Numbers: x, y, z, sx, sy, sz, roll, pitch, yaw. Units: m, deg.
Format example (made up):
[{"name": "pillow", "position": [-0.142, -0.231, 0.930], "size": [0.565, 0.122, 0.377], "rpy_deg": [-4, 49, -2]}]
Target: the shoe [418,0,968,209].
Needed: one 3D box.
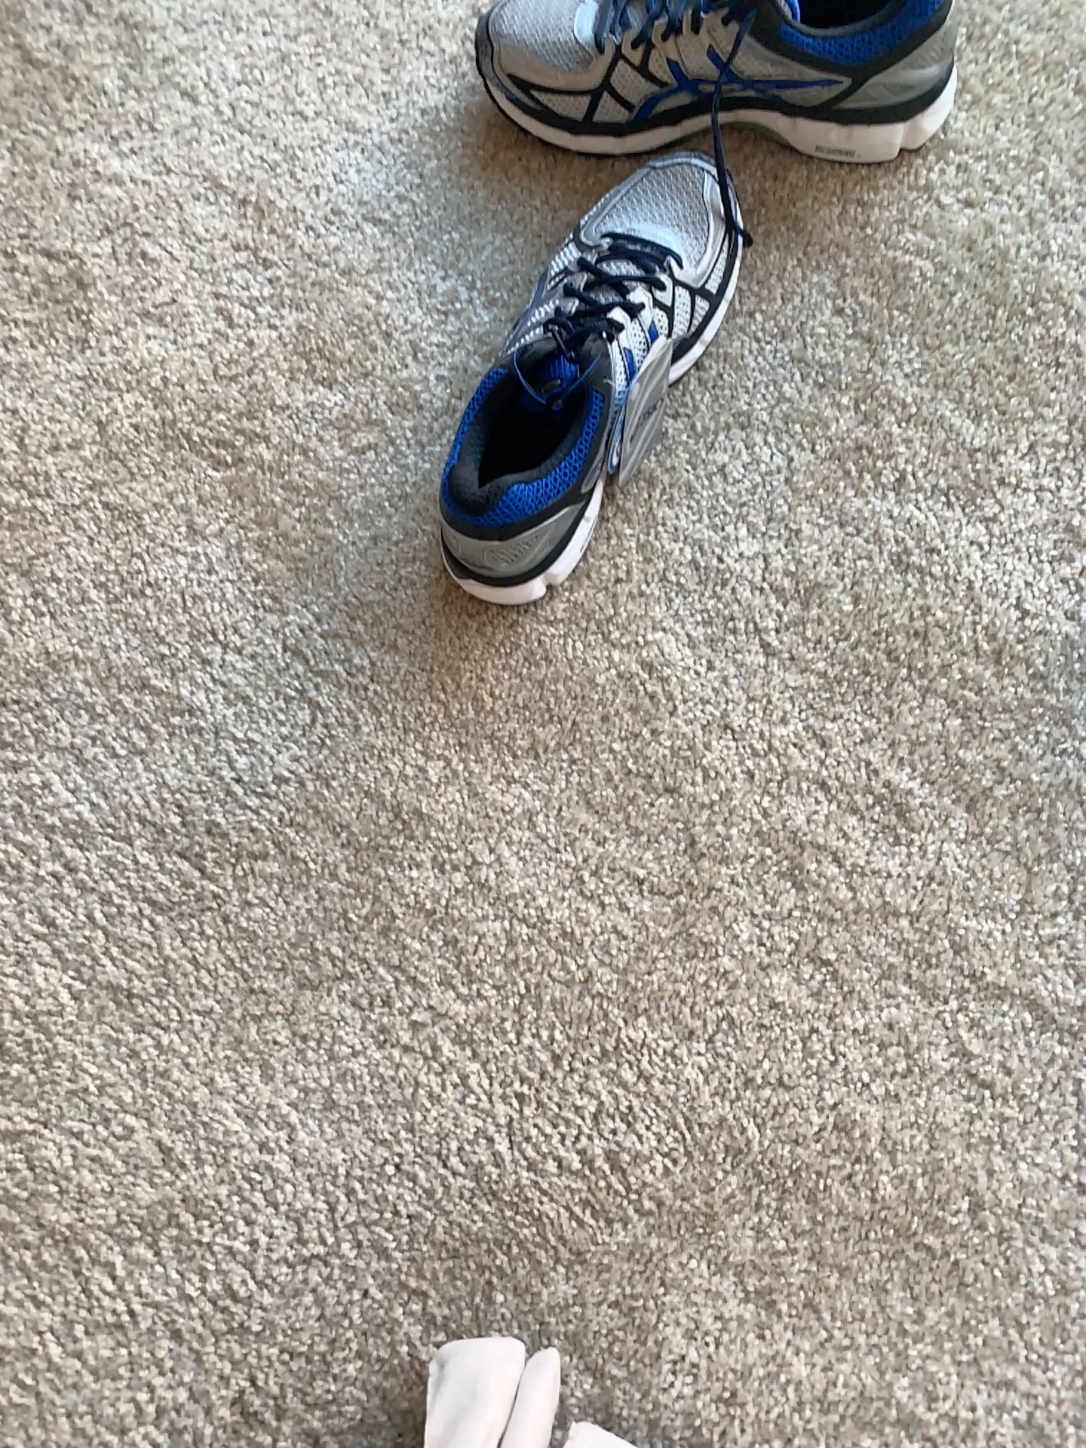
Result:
[{"name": "shoe", "position": [0.091, -0.412, 0.703], "size": [0.310, 0.110, 0.100], "rpy_deg": [6, 78, 8]}]

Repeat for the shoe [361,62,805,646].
[{"name": "shoe", "position": [0.029, -0.206, 0.635], "size": [0.100, 0.110, 0.290], "rpy_deg": [29, 82, 12]}]
